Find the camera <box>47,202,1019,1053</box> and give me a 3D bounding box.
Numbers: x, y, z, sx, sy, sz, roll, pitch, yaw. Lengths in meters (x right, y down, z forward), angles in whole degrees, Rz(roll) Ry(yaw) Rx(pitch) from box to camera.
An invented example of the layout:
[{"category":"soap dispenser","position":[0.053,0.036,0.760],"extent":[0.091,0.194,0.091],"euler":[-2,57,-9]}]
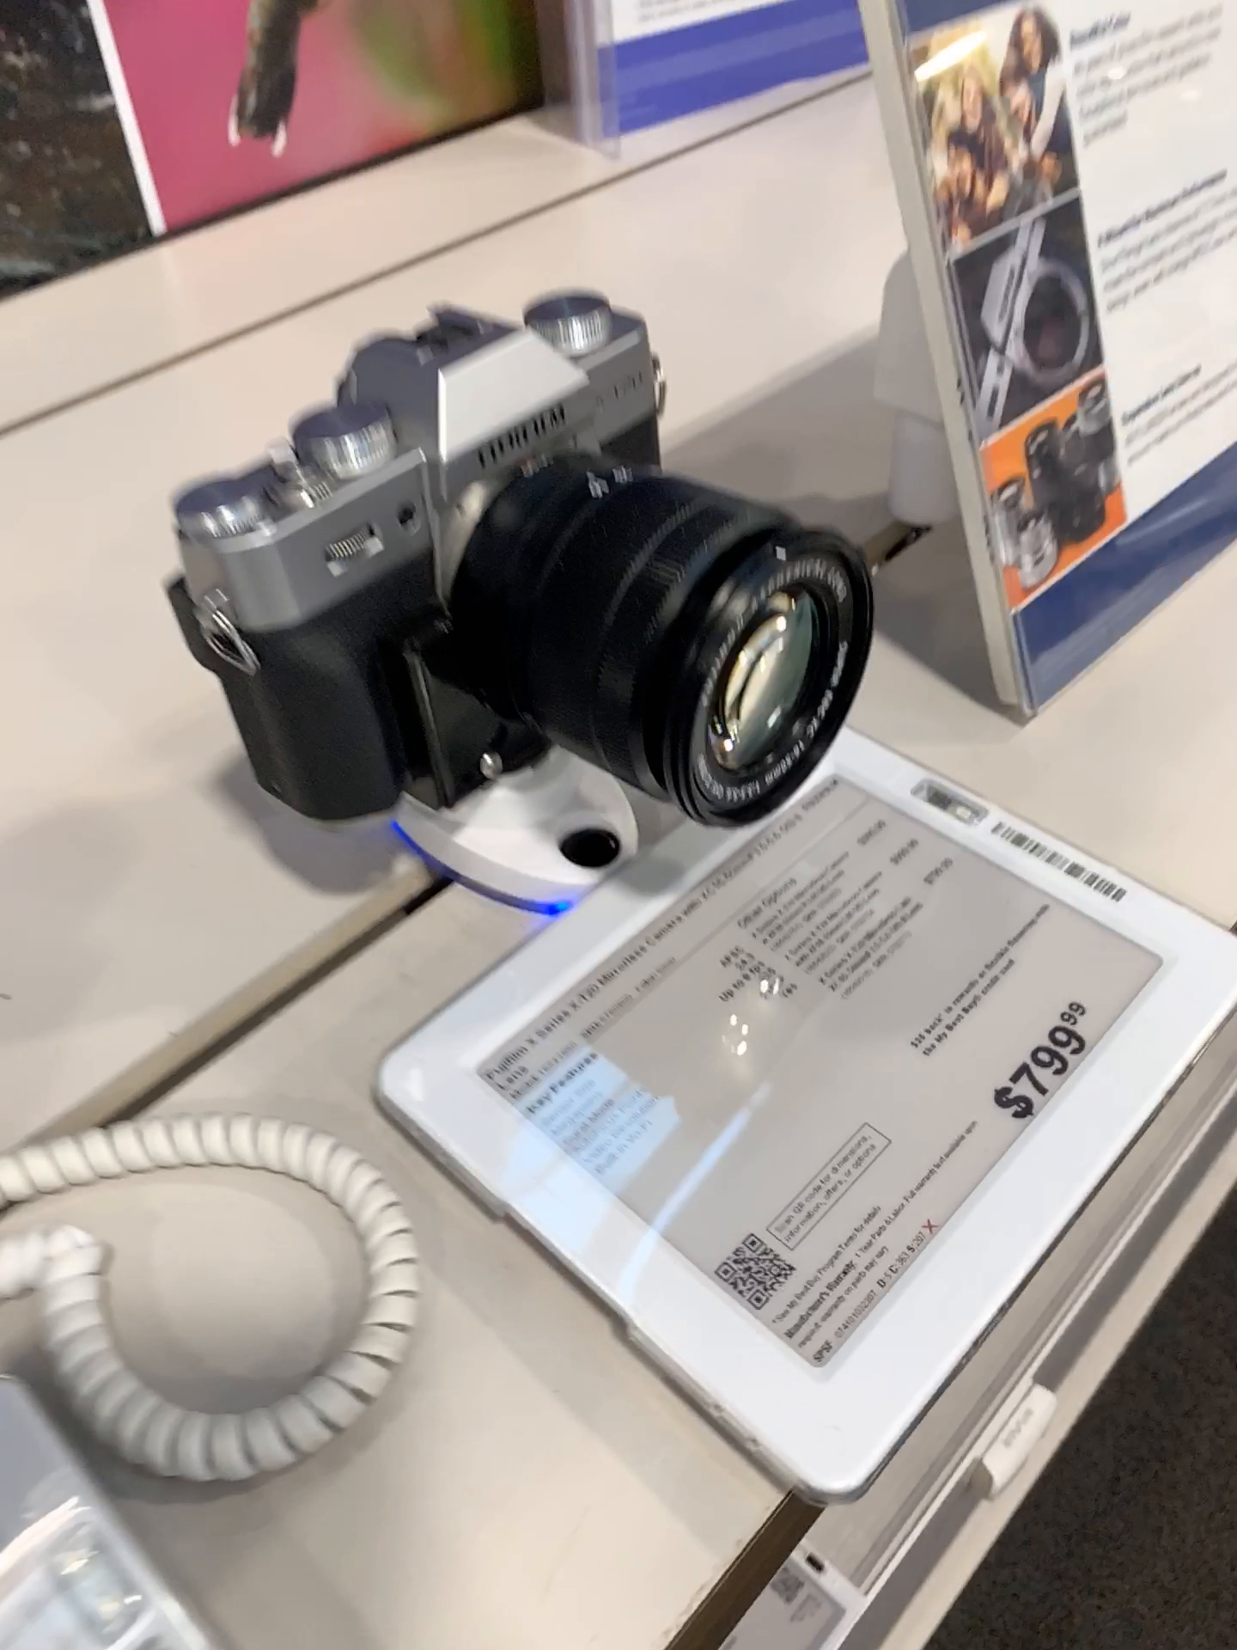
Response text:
[{"category":"camera","position":[-0.013,-0.049,0.253],"extent":[0.120,0.080,0.120],"euler":[32,55,30]}]
